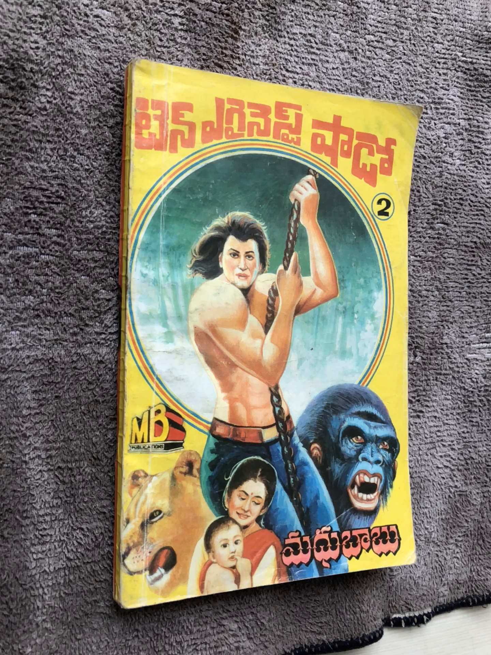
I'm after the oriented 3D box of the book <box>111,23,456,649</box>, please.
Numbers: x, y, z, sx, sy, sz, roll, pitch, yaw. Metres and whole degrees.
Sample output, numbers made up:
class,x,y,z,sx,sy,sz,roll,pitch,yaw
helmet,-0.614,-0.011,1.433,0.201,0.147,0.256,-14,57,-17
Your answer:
class,x,y,z,sx,sy,sz,roll,pitch,yaw
book,0.016,0.002,0.173,0.110,0.020,0.160,1,88,-24
